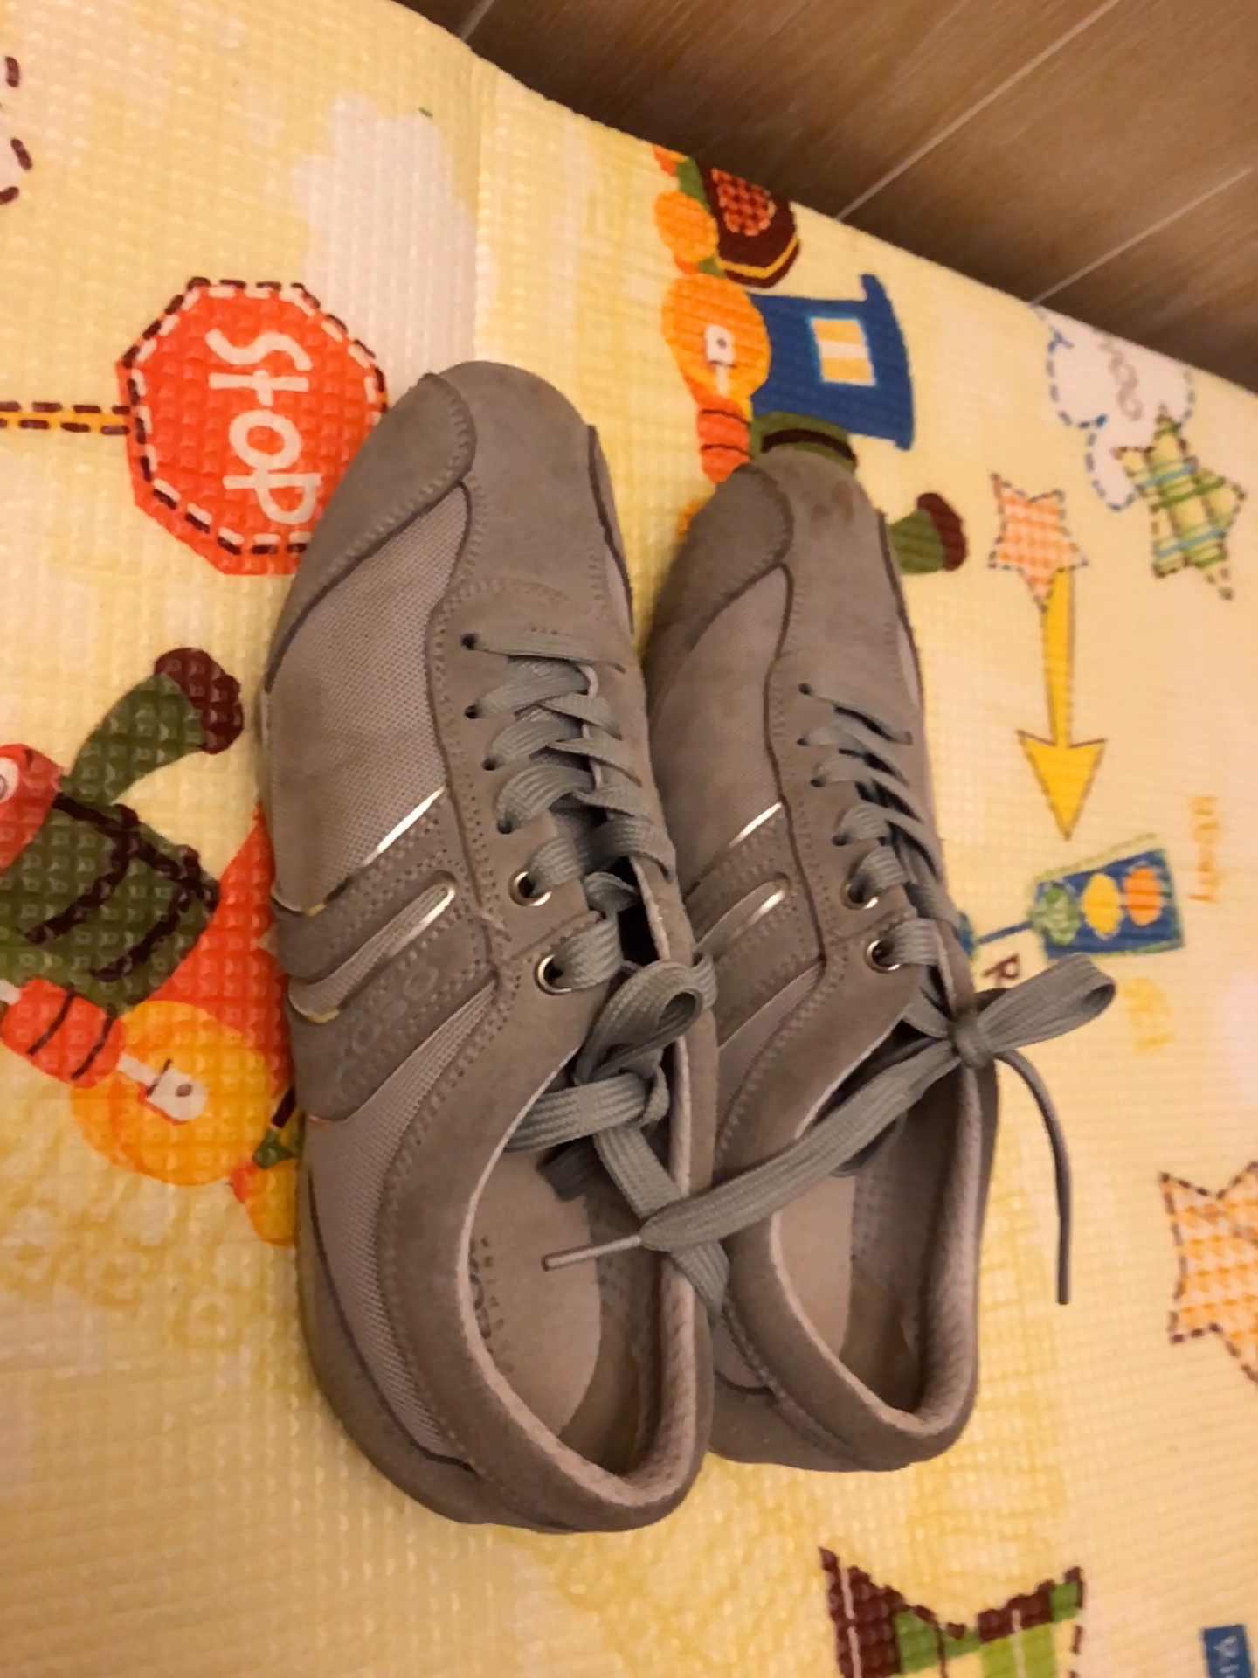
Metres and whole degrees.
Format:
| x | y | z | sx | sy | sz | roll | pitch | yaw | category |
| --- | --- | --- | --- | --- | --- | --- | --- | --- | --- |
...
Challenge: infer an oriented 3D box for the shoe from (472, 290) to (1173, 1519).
| x | y | z | sx | sy | sz | roll | pitch | yaw | category |
| --- | --- | --- | --- | --- | --- | --- | --- | --- | --- |
| 0.046 | 0.018 | 0.327 | 0.090 | 0.120 | 0.230 | 15 | 74 | -30 | shoe |

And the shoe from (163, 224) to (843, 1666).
| x | y | z | sx | sy | sz | roll | pitch | yaw | category |
| --- | --- | --- | --- | --- | --- | --- | --- | --- | --- |
| -0.035 | 0.019 | 0.296 | 0.090 | 0.120 | 0.230 | 4 | 79 | -32 | shoe |
